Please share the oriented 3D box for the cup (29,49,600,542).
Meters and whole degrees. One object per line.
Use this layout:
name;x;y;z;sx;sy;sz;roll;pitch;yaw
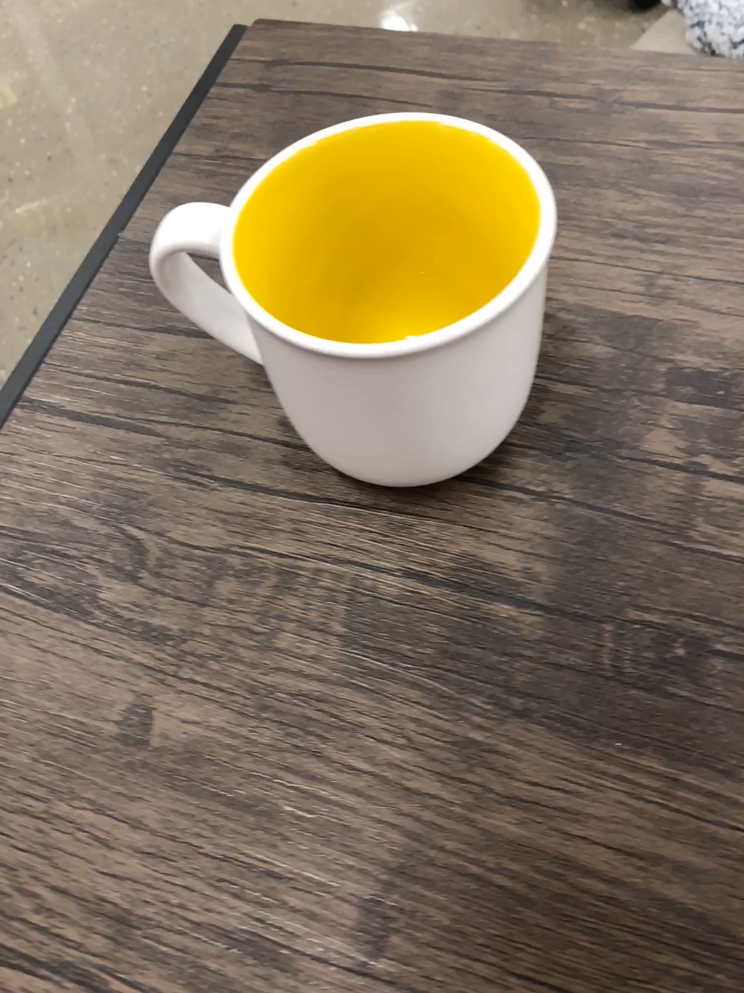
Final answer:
cup;-0.010;-0.061;0.260;0.130;0.100;0.080;16;64;16
